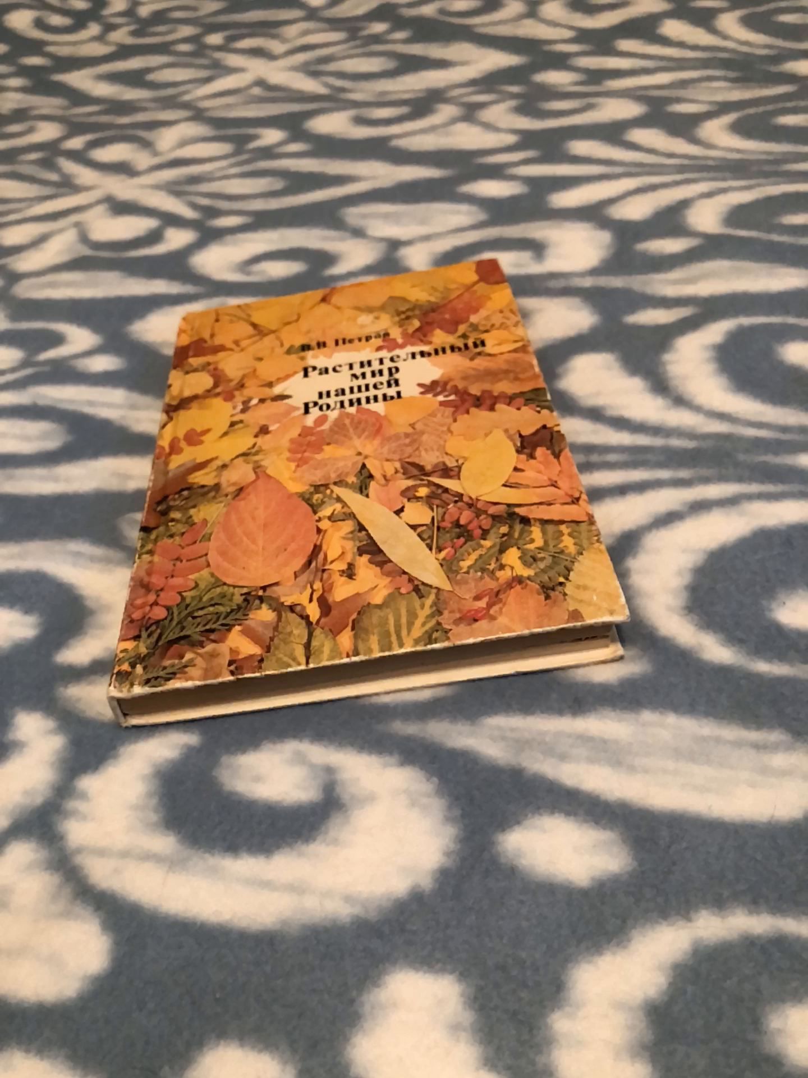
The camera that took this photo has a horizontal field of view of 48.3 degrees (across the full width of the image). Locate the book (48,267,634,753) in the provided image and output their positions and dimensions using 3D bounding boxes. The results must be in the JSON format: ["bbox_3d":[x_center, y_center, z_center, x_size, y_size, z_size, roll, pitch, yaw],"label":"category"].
[{"bbox_3d":[-0.025,-0.029,0.322,0.157,0.020,0.209,-8,43,0],"label":"book"}]
